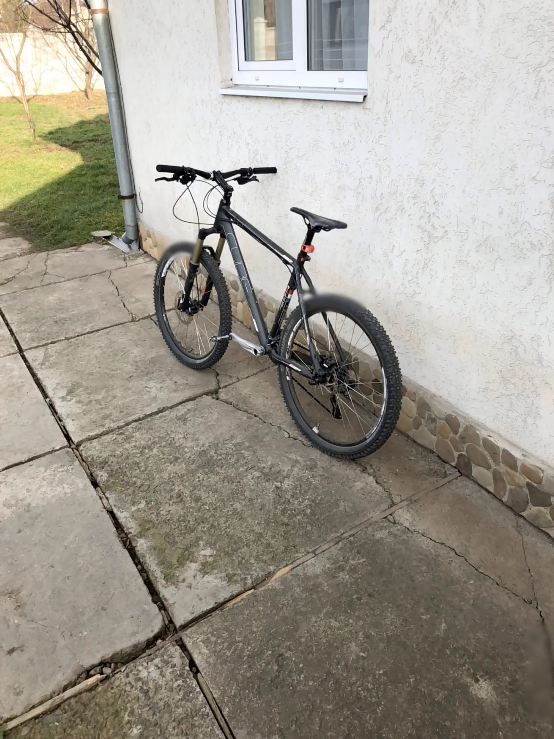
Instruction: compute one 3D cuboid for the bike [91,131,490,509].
[{"bbox_3d":[-0.066,-0.396,2.814,0.688,1.090,1.779,-22,35,-33],"label":"bike"}]
